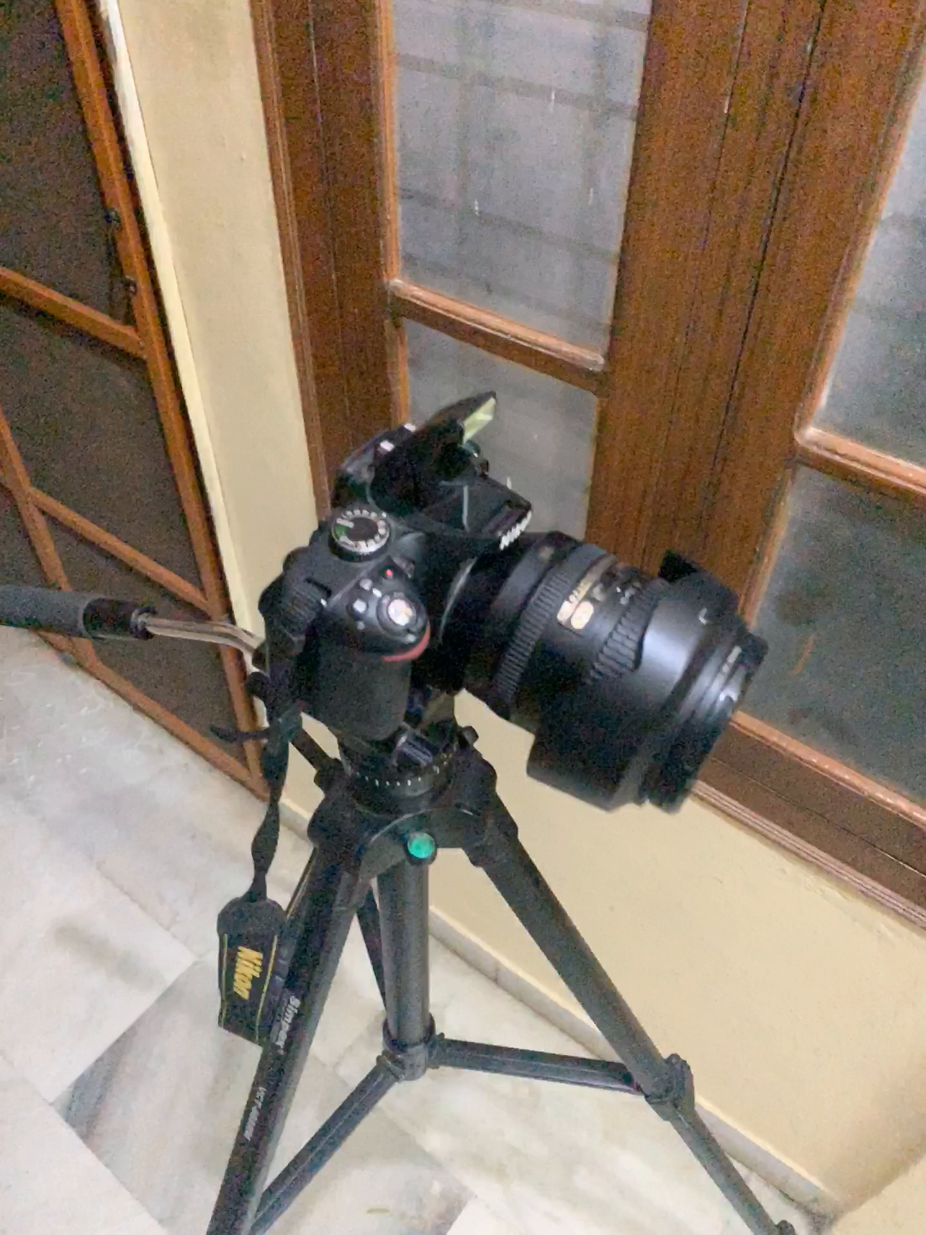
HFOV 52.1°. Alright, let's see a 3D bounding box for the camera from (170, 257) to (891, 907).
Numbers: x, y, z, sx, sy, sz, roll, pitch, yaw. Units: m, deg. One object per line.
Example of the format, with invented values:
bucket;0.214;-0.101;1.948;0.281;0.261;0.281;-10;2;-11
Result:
camera;0.025;-0.027;0.372;0.200;0.128;0.150;26;50;23
